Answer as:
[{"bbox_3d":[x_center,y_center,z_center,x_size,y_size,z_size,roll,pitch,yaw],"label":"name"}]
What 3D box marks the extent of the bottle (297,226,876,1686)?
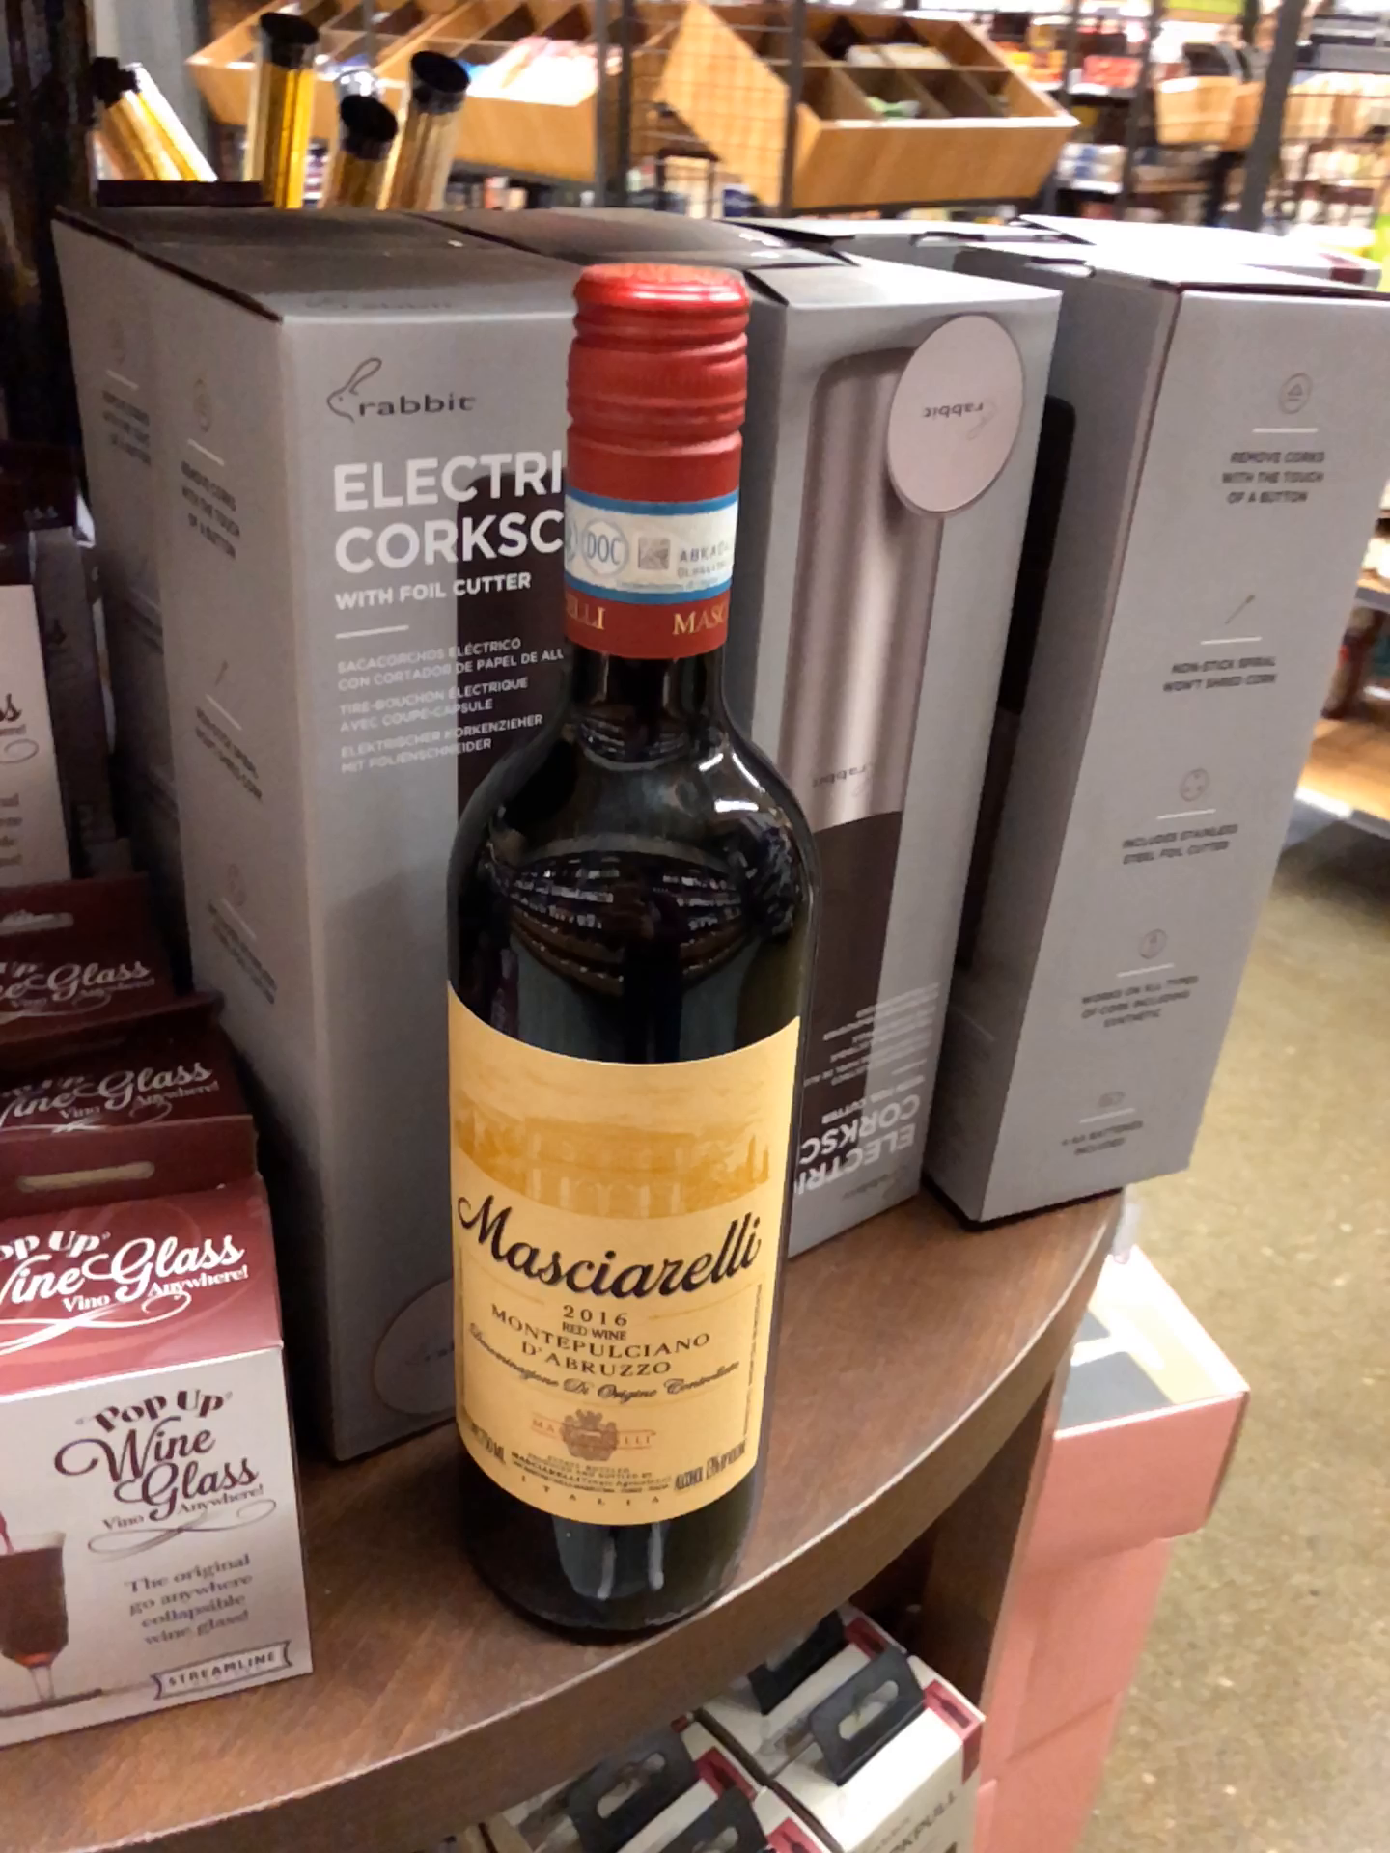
[{"bbox_3d":[-0.018,0.021,0.307,0.072,0.283,0.075,2,29,-1],"label":"bottle"}]
